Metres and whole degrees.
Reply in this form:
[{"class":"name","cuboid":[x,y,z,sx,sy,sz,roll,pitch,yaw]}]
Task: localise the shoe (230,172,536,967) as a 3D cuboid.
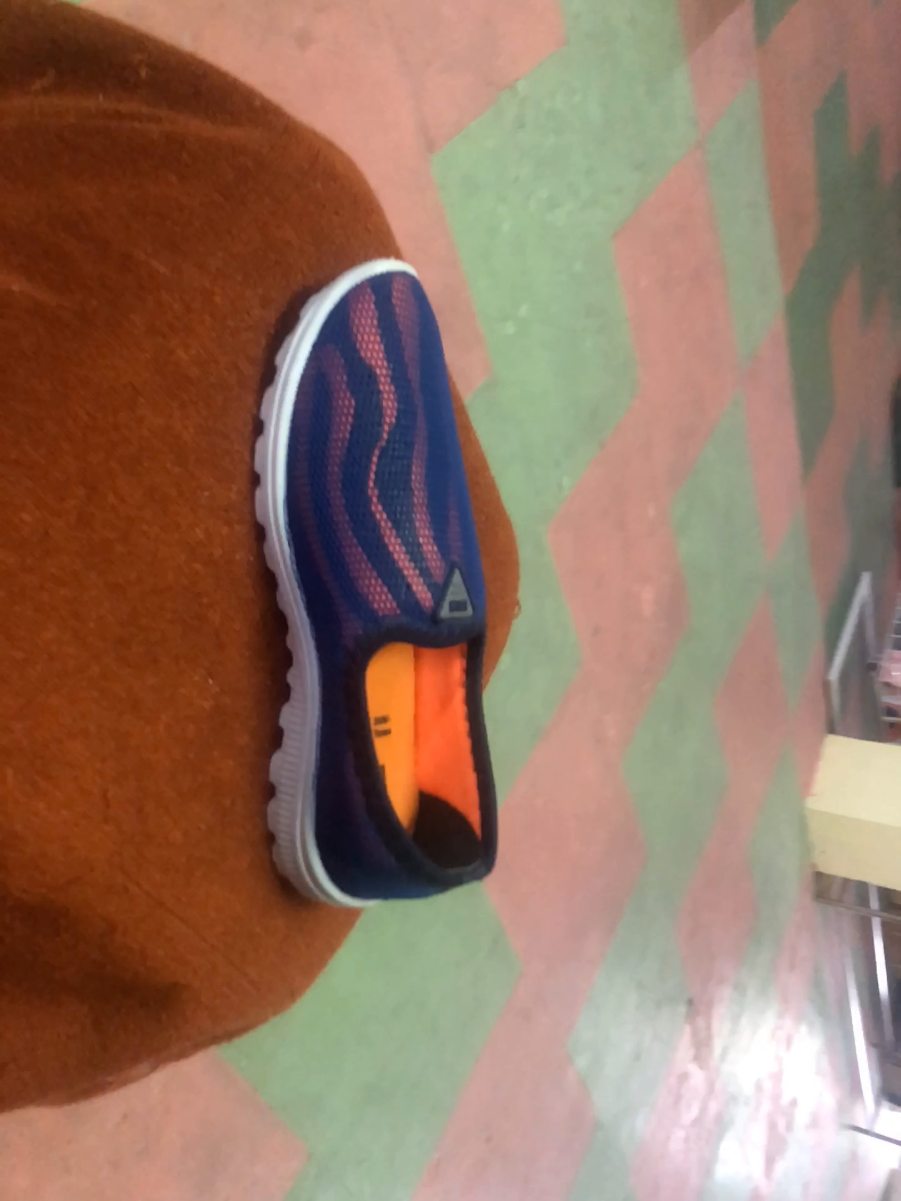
[{"class":"shoe","cuboid":[-0.025,-0.011,0.378,0.091,0.069,0.260,-8,102,-57]}]
